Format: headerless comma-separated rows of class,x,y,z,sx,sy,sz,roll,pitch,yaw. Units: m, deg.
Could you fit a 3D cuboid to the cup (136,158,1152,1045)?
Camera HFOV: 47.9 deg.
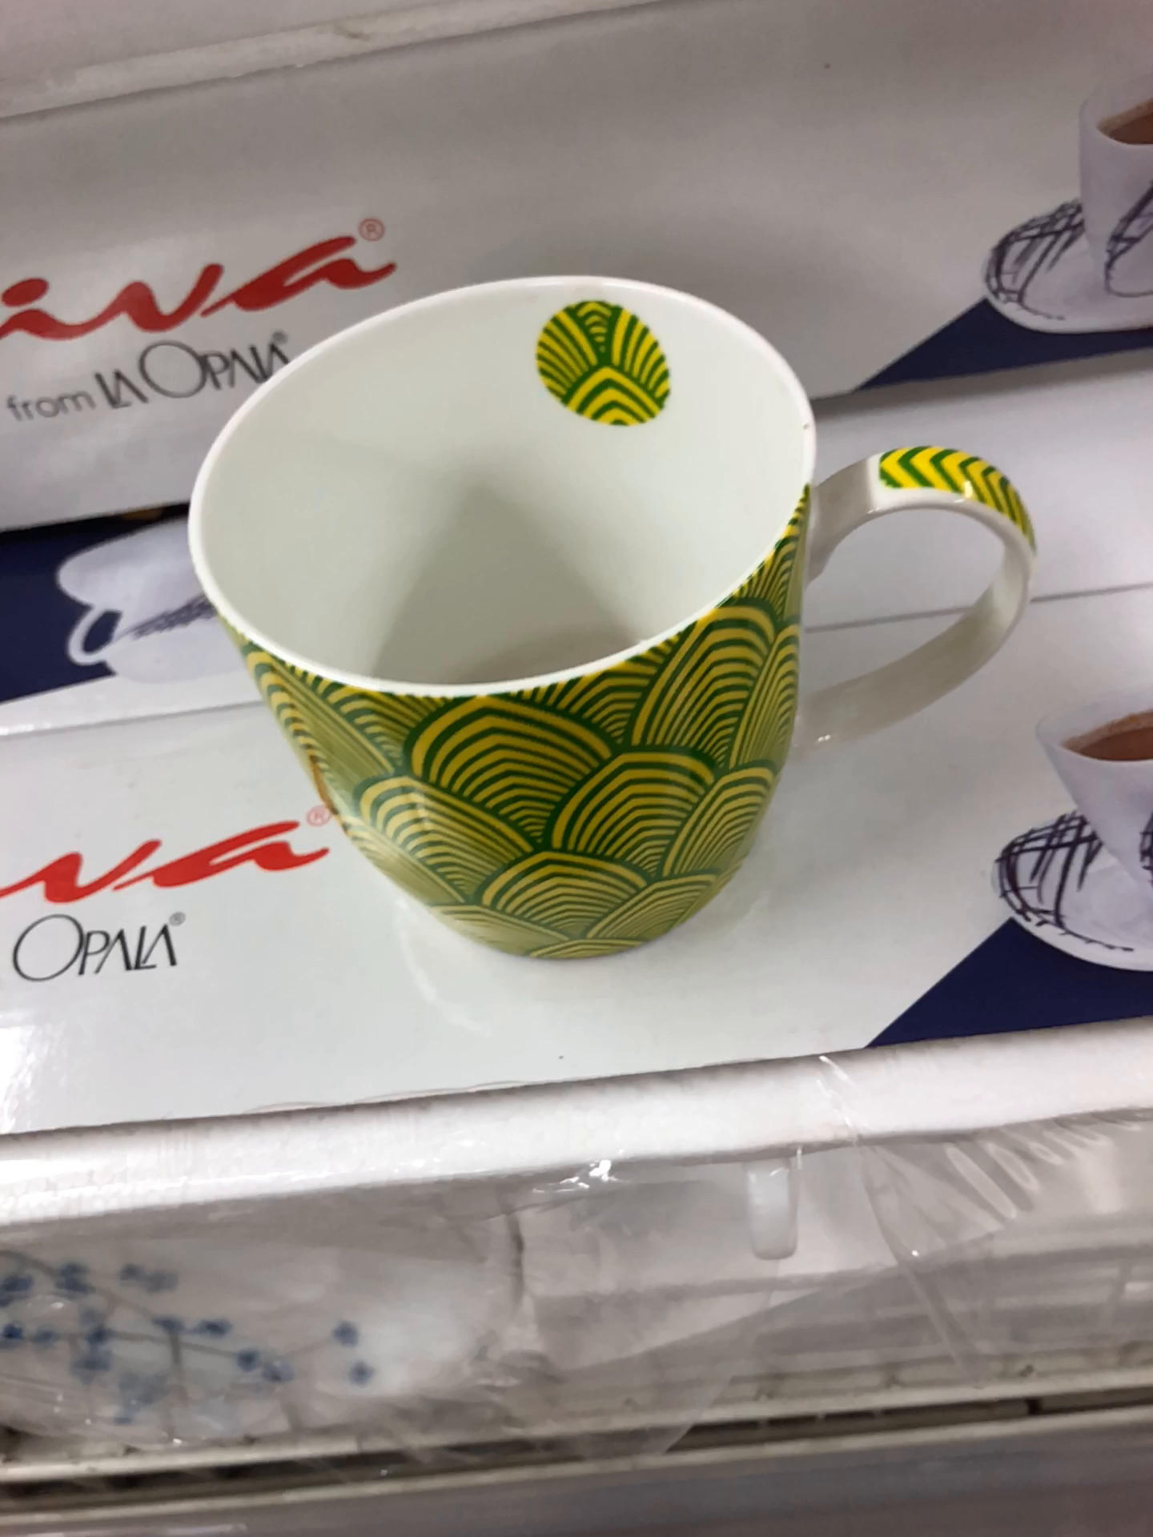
cup,0.008,-0.025,0.208,0.120,0.079,0.091,-11,52,1
